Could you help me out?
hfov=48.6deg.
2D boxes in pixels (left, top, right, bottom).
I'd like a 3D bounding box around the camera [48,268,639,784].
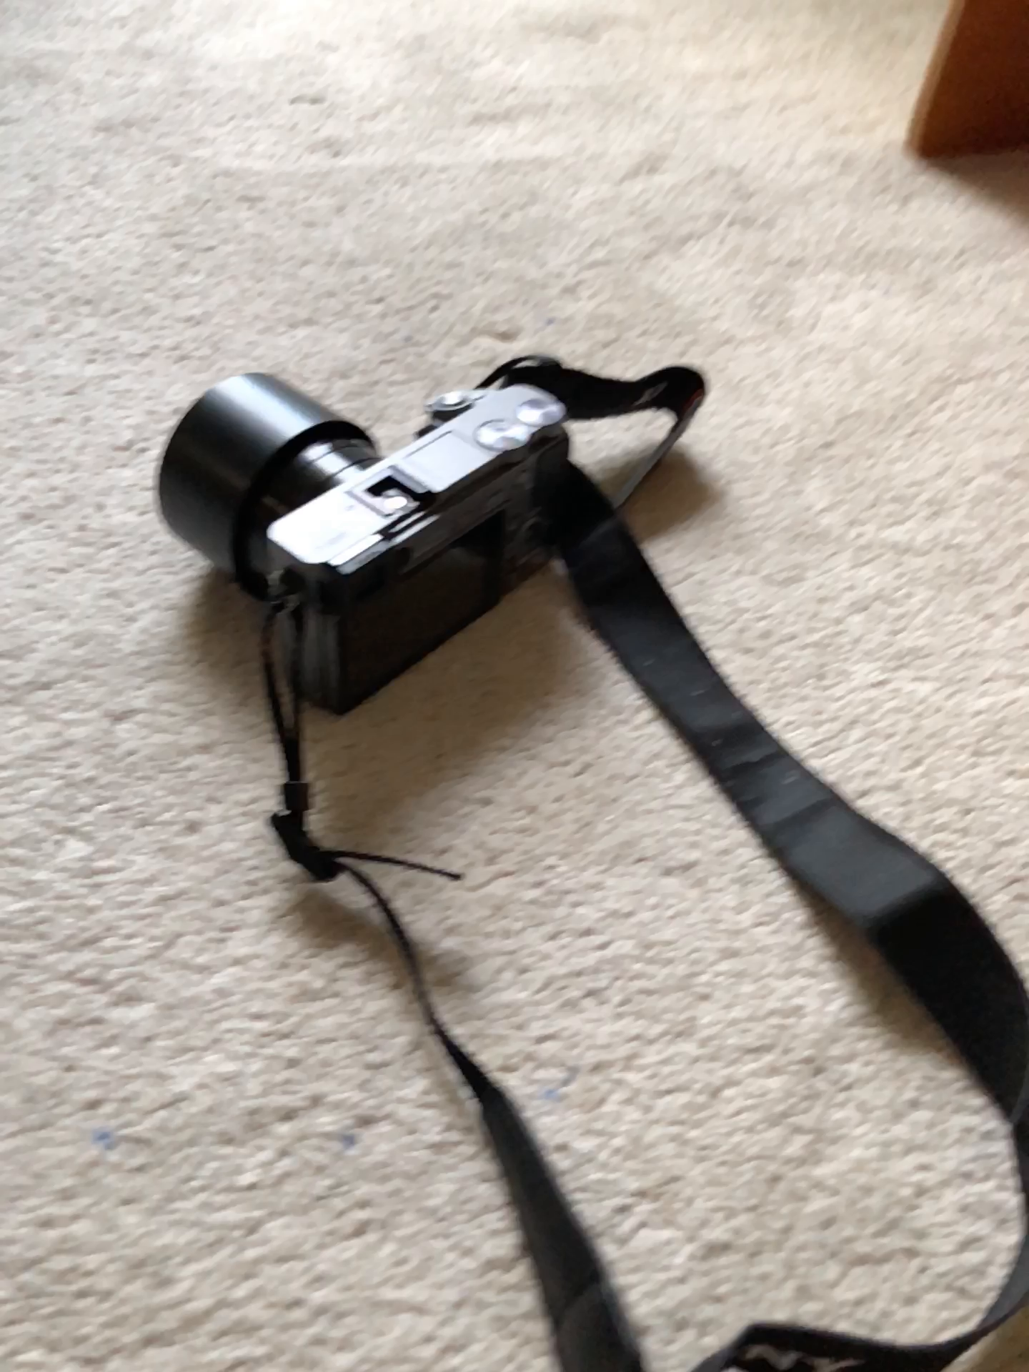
[{"bbox_3d":[-0.050,-0.060,0.370,0.110,0.070,0.140,34,52,23],"label":"camera"}]
